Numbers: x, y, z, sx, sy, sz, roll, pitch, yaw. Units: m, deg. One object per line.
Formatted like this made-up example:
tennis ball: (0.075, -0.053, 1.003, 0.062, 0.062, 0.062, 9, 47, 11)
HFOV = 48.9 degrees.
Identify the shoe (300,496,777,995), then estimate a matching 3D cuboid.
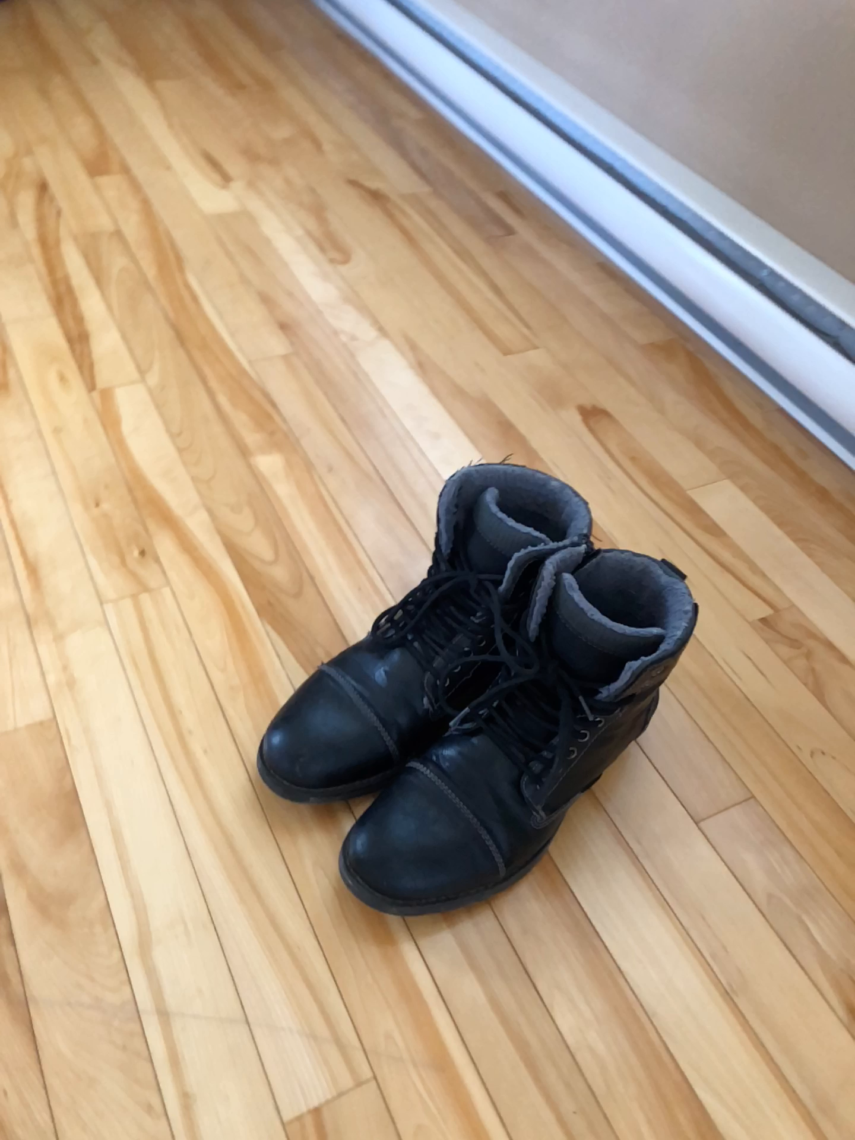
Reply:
shoe: (0.071, 0.113, 0.652, 0.301, 0.199, 0.120, -28, 56, -31)

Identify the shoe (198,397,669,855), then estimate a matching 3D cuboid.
shoe: (0.004, 0.033, 0.670, 0.291, 0.199, 0.120, -26, 55, -29)
